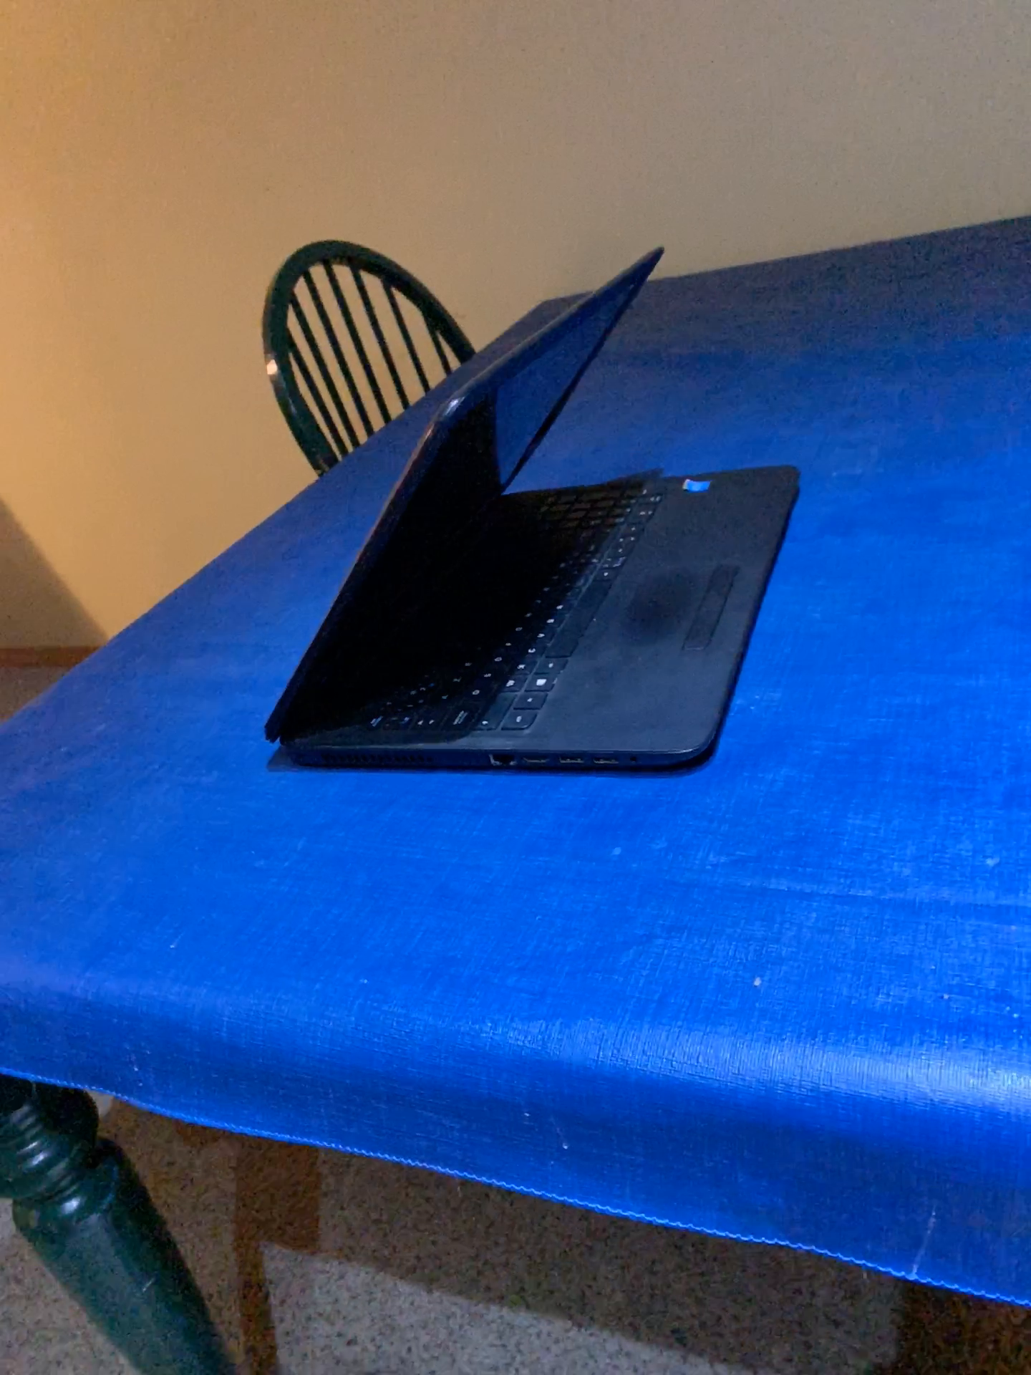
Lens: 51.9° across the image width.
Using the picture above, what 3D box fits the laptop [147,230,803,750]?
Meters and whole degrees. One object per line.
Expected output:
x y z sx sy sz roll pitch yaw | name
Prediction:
0.016 -0.138 0.656 0.252 0.167 0.373 -1 31 24 | laptop
